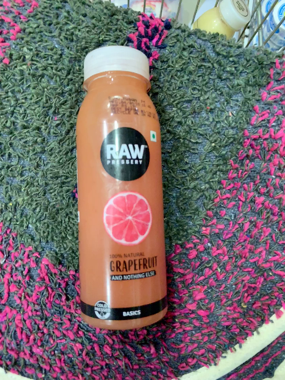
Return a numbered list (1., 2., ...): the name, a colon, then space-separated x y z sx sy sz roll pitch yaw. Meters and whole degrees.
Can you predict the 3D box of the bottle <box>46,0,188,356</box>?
1. bottle: -0.015 -0.008 0.163 0.060 0.060 0.160 0 84 -7
